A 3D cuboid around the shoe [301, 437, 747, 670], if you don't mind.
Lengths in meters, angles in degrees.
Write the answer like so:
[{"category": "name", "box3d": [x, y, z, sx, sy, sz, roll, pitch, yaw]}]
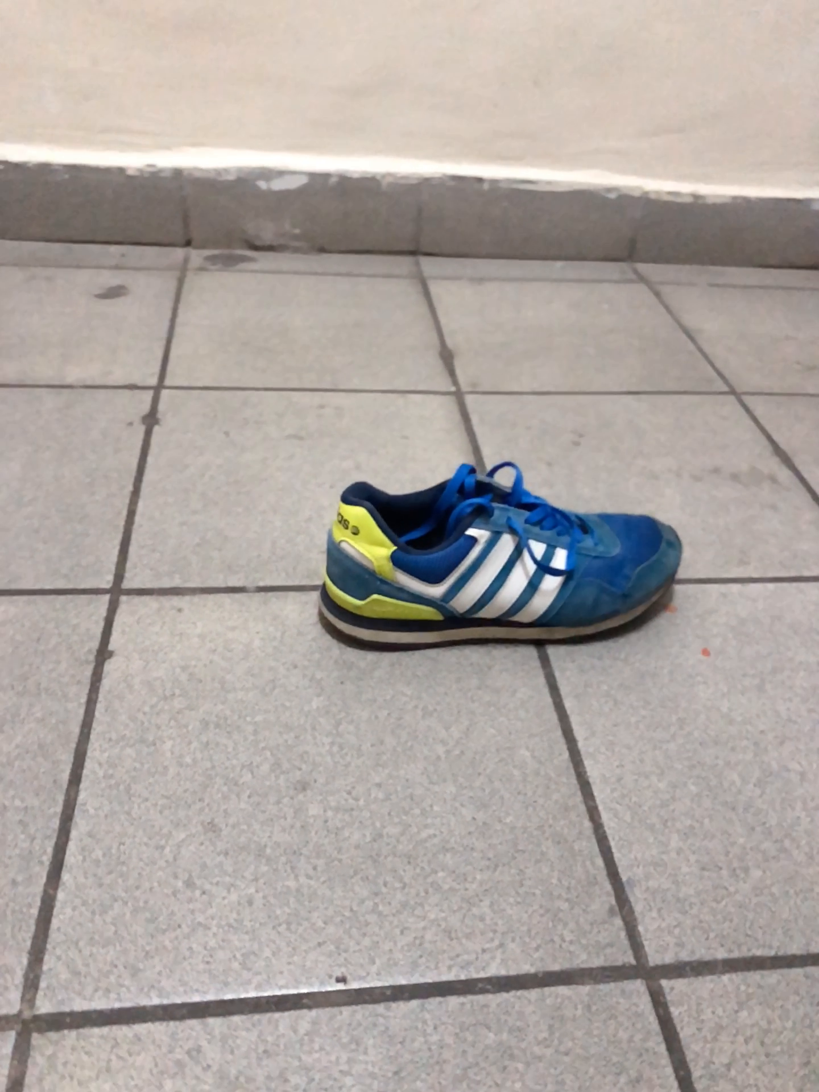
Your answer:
[{"category": "shoe", "box3d": [0.074, 0.000, 0.657, 0.292, 0.099, 0.111, -5, 39, -13]}]
